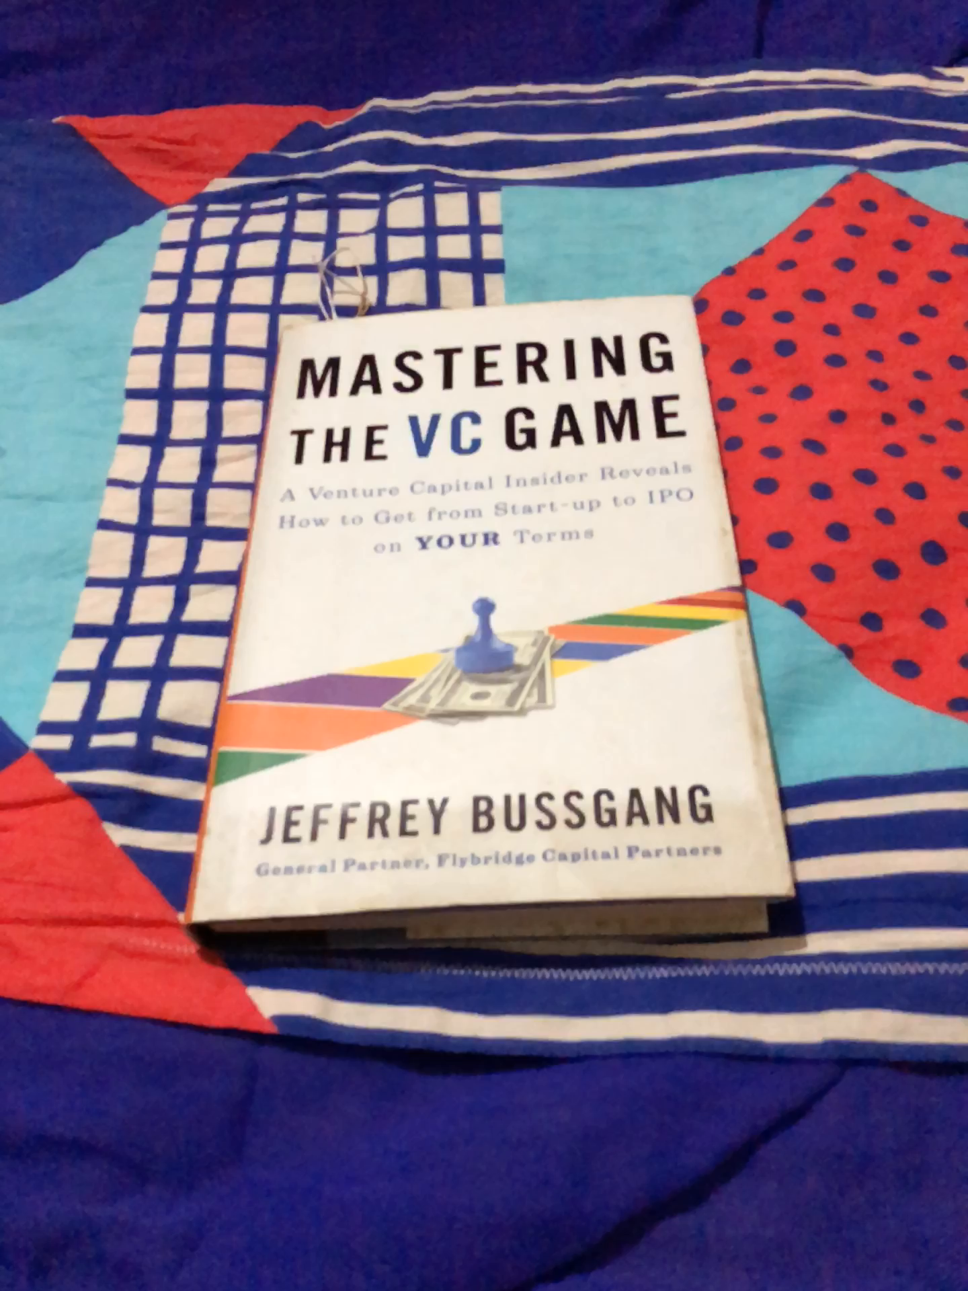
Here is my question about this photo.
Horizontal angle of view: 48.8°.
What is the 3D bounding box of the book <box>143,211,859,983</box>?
[{"bbox_3d":[0.004,-0.035,0.367,0.180,0.050,0.281,-3,56,5],"label":"book"}]
